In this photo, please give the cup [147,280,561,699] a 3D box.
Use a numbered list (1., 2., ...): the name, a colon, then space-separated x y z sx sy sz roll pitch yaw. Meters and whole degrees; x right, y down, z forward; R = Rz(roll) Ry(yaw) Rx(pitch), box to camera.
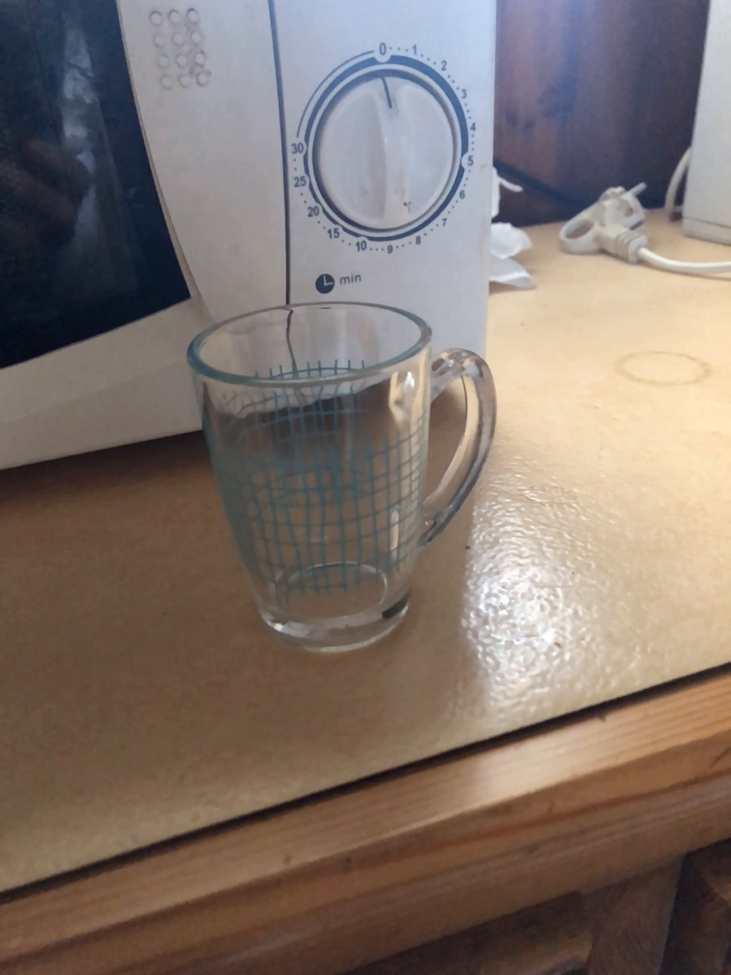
1. cup: -0.004 -0.004 0.204 0.080 0.070 0.060 -13 31 -17
